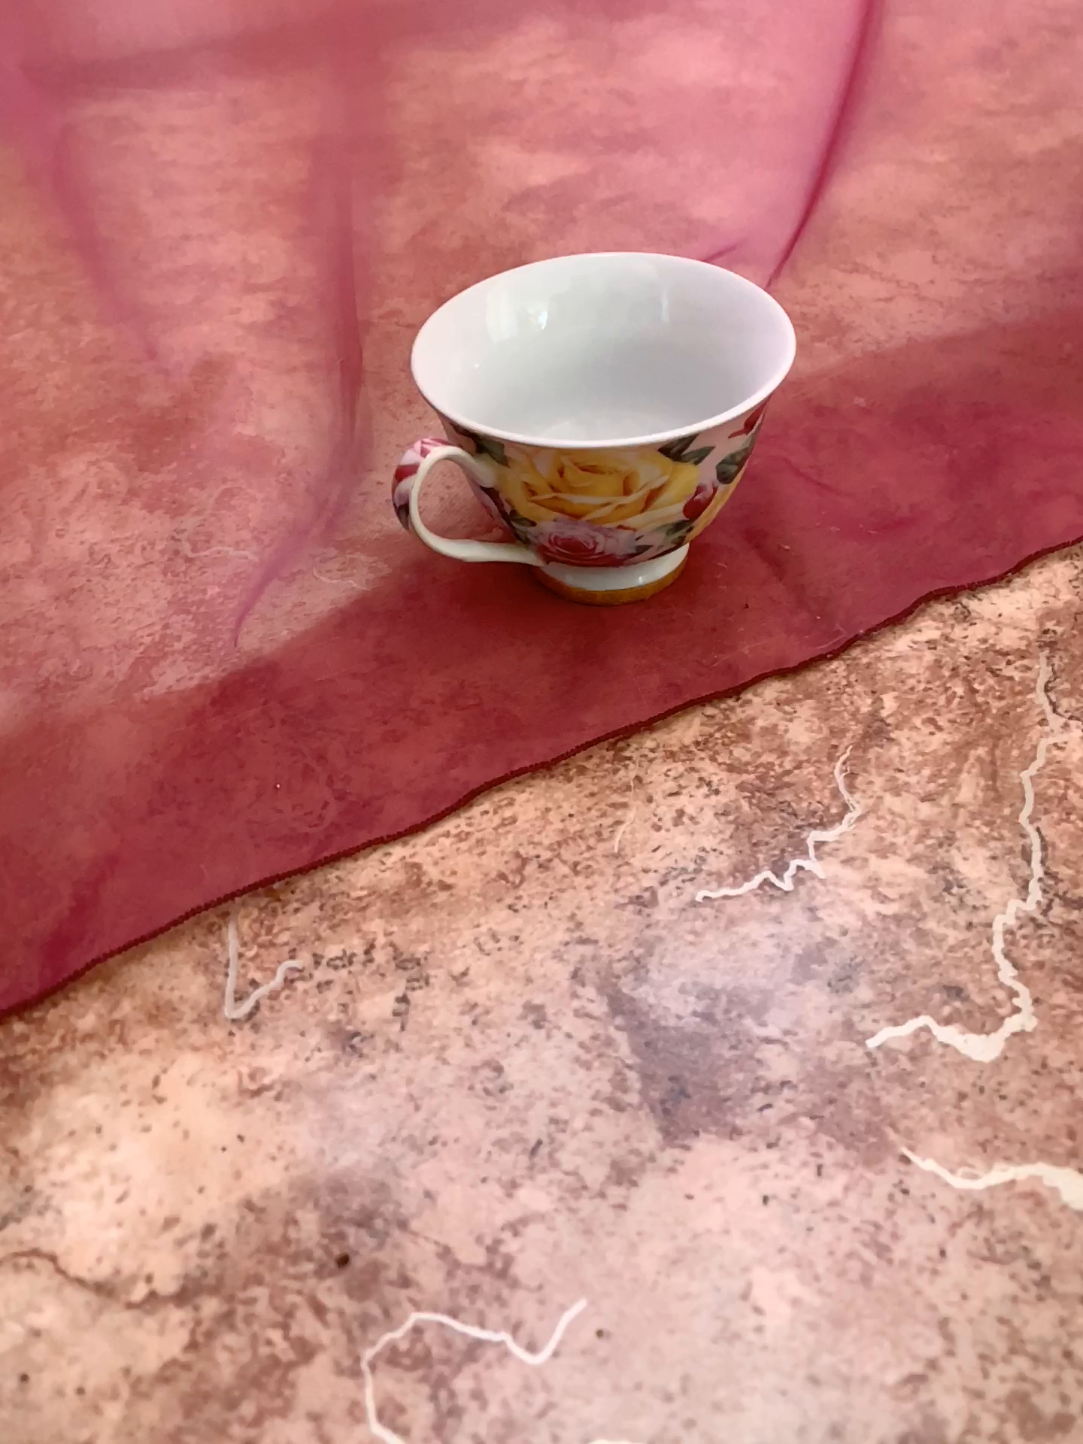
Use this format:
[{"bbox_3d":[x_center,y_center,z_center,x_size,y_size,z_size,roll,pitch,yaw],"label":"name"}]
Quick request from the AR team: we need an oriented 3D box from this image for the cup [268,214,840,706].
[{"bbox_3d":[0.003,-0.070,0.282,0.109,0.060,0.079,-25,50,-18],"label":"cup"}]
